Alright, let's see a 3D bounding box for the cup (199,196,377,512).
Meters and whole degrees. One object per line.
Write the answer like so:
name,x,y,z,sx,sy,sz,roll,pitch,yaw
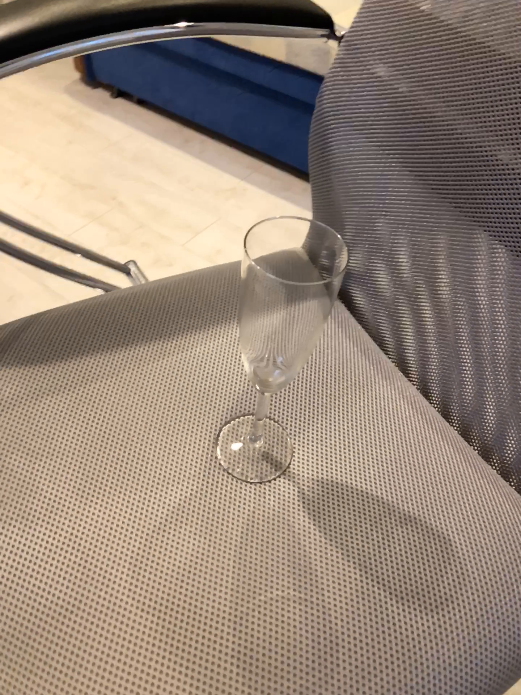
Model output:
cup,0.004,0.018,0.401,0.075,0.228,0.075,3,47,-4
